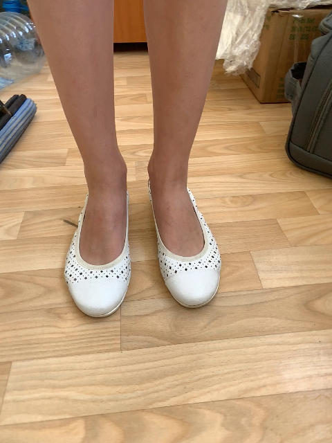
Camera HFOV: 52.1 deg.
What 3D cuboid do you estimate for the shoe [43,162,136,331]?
[{"bbox_3d":[-0.098,0.019,0.509,0.100,0.070,0.271,-4,43,-2],"label":"shoe"}]

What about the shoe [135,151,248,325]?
[{"bbox_3d":[0.021,0.004,0.494,0.090,0.070,0.271,-9,43,-7],"label":"shoe"}]
